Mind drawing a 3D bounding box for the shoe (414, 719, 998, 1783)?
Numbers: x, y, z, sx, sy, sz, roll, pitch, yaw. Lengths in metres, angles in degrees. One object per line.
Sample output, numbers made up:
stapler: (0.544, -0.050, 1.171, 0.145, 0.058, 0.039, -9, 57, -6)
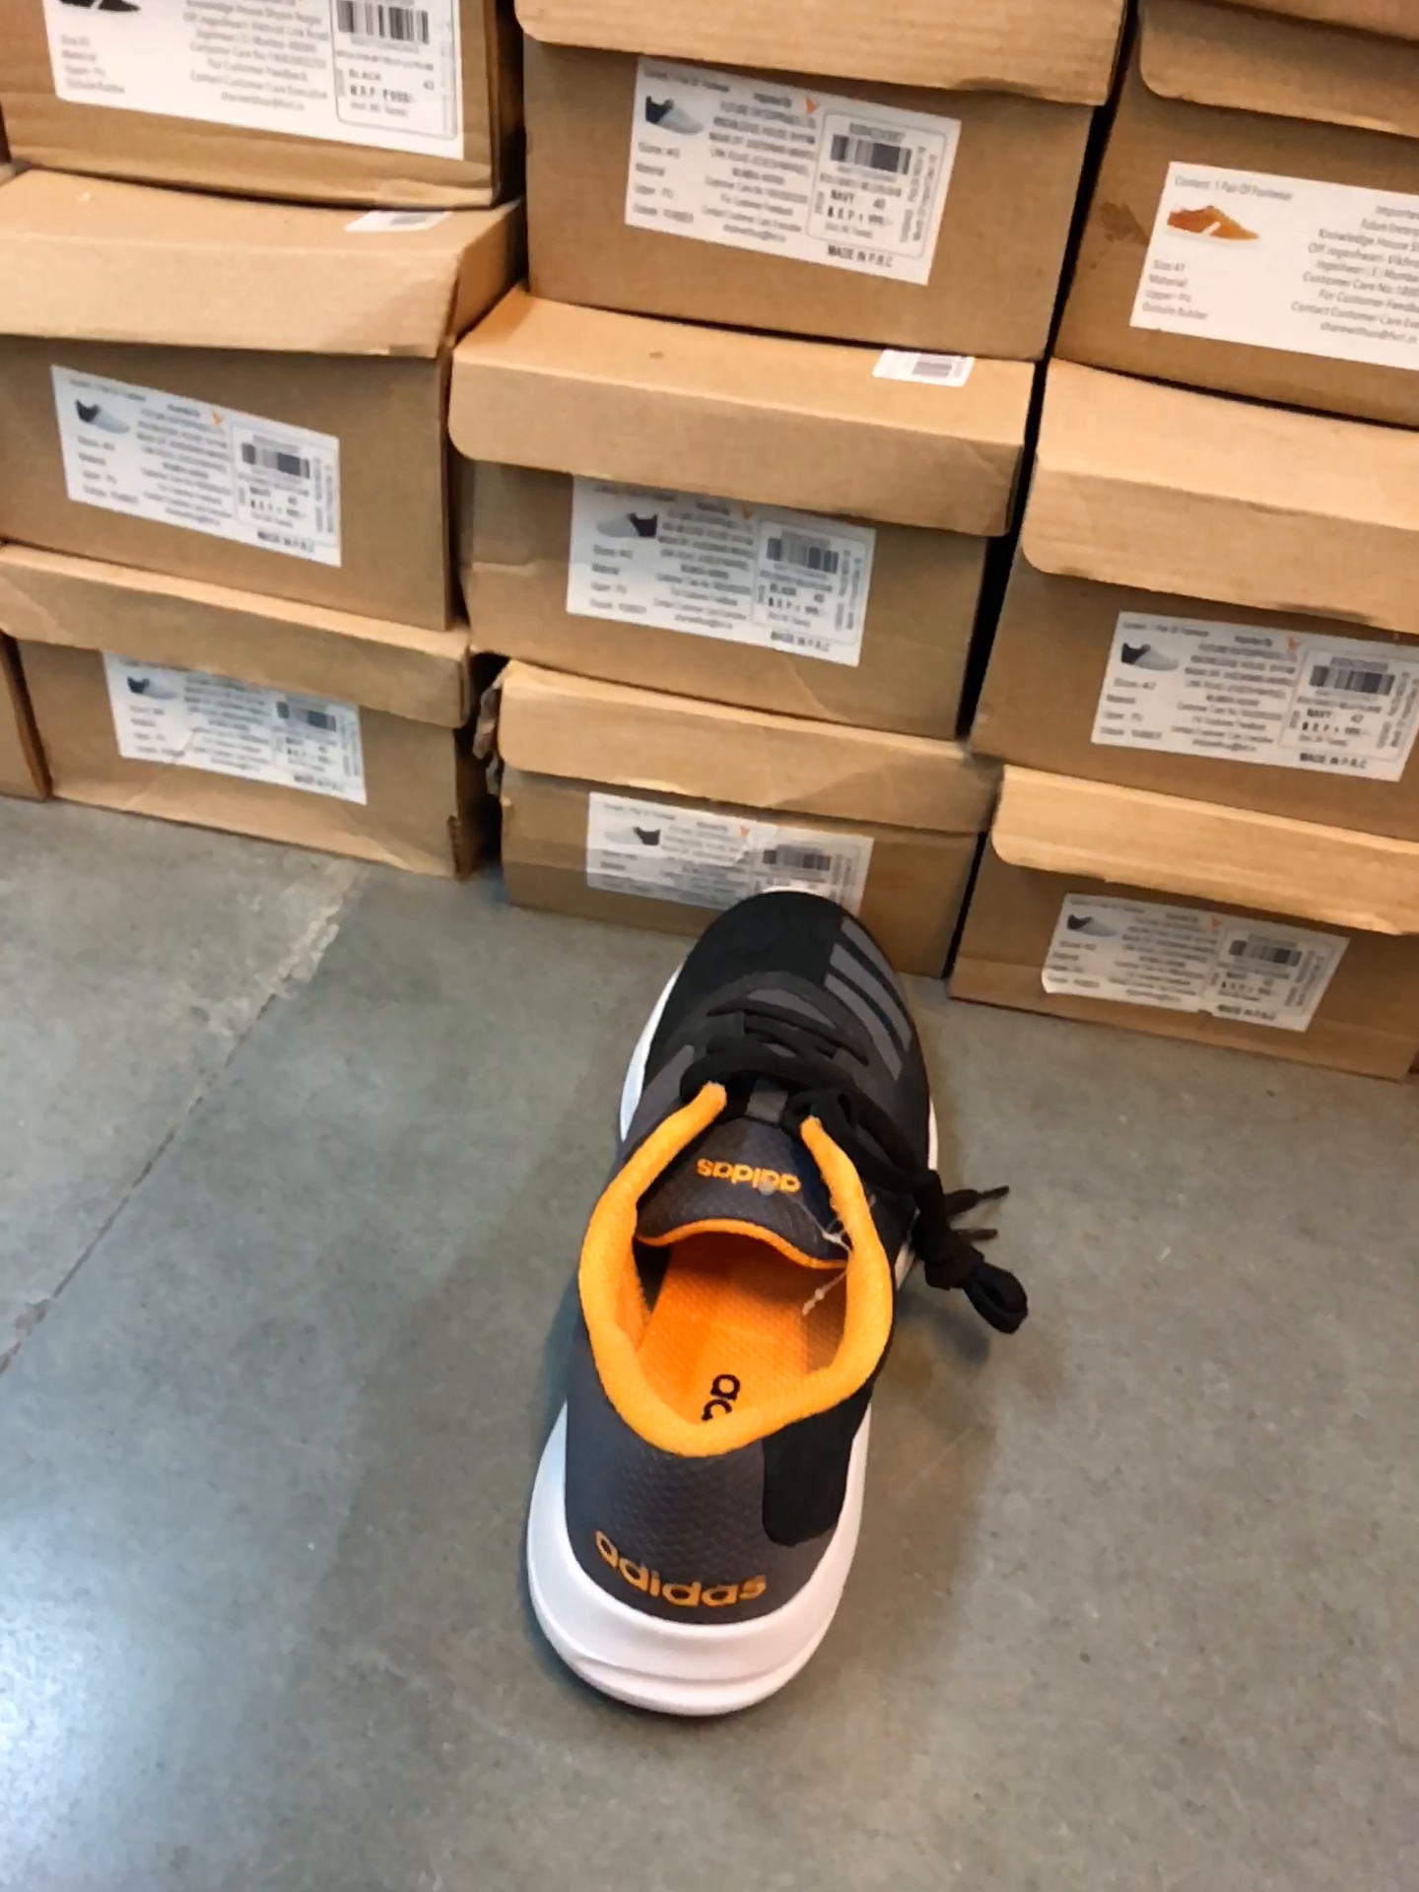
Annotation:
shoe: (0.011, 0.067, 0.456, 0.110, 0.116, 0.272, 11, 42, 4)
